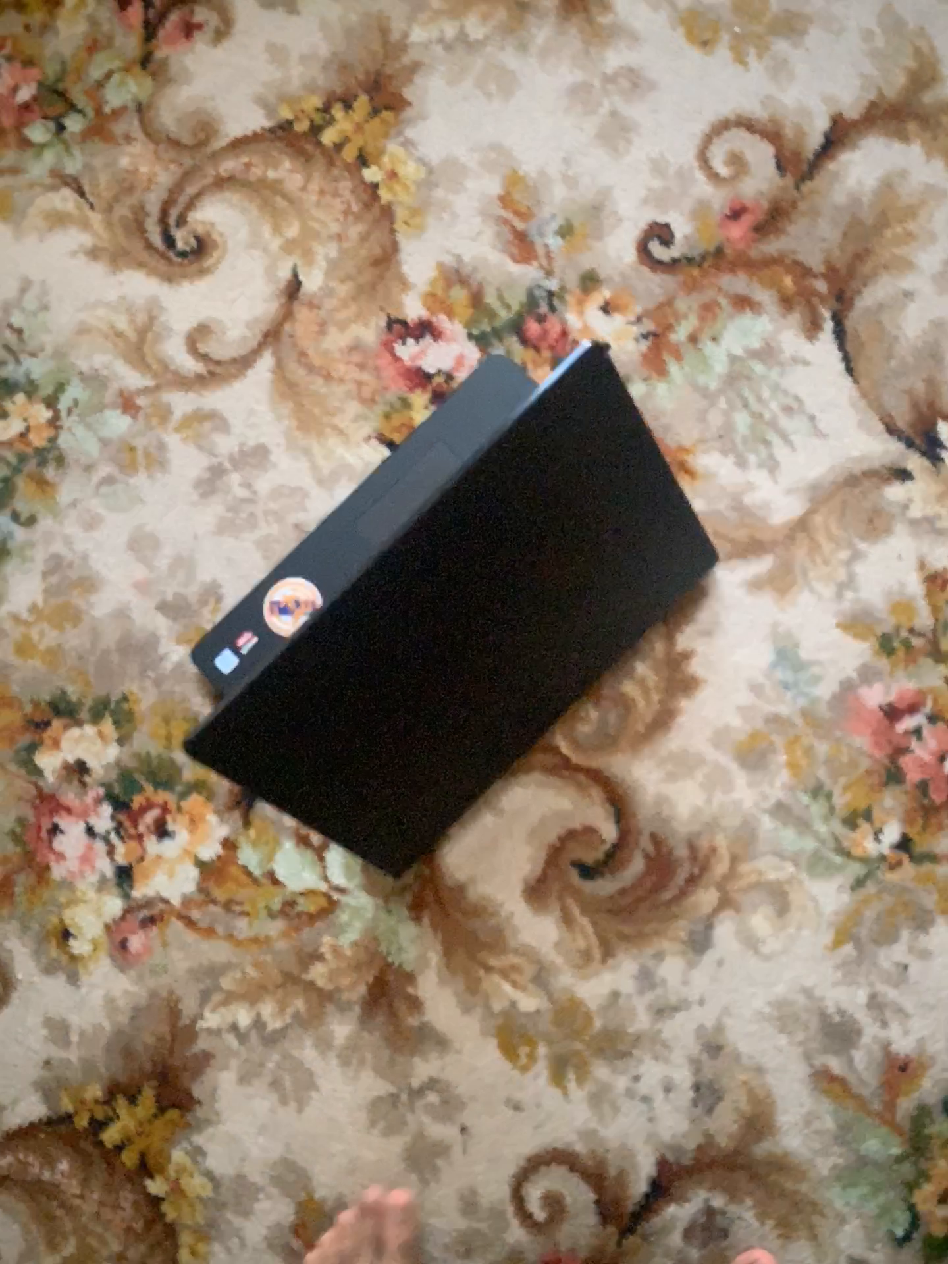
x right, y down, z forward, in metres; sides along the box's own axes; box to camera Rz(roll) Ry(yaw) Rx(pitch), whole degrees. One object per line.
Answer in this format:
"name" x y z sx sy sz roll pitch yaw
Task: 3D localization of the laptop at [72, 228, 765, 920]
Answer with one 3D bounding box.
"laptop" -0.031 -0.031 0.697 0.251 0.194 0.366 45 90 7
